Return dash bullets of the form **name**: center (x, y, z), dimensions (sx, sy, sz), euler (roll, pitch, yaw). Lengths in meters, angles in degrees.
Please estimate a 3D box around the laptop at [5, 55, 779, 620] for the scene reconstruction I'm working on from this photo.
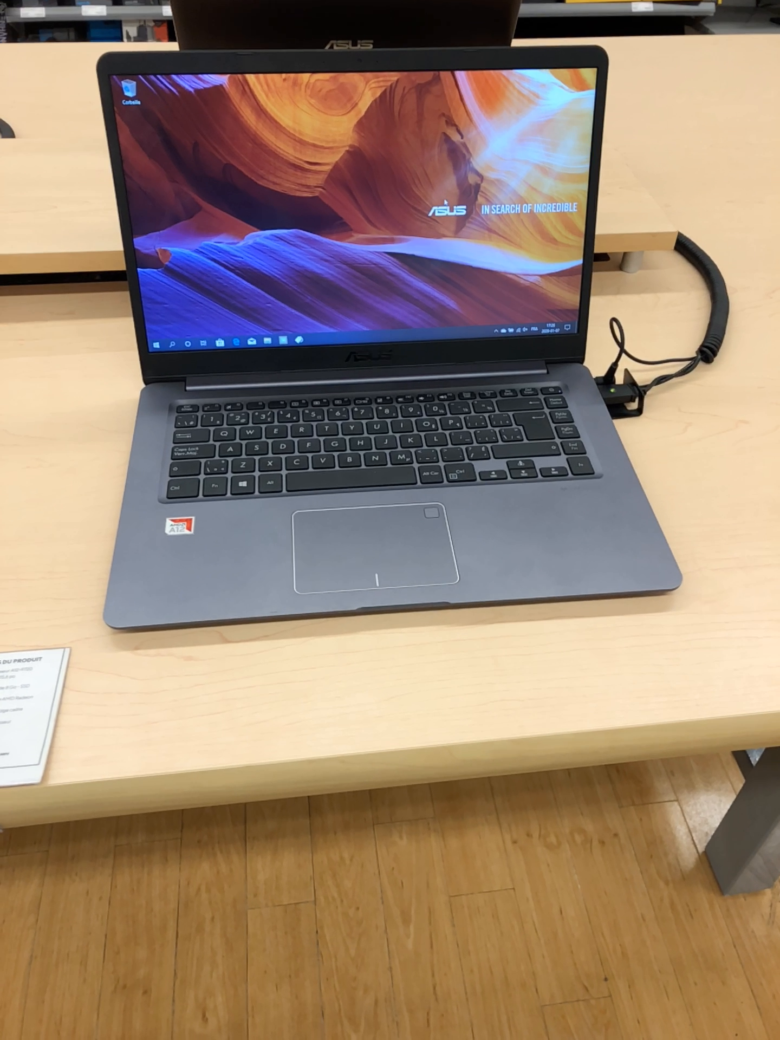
- **laptop**: center (-0.008, -0.140, 0.579), dimensions (0.361, 0.223, 0.319), euler (-4, 45, -5)
